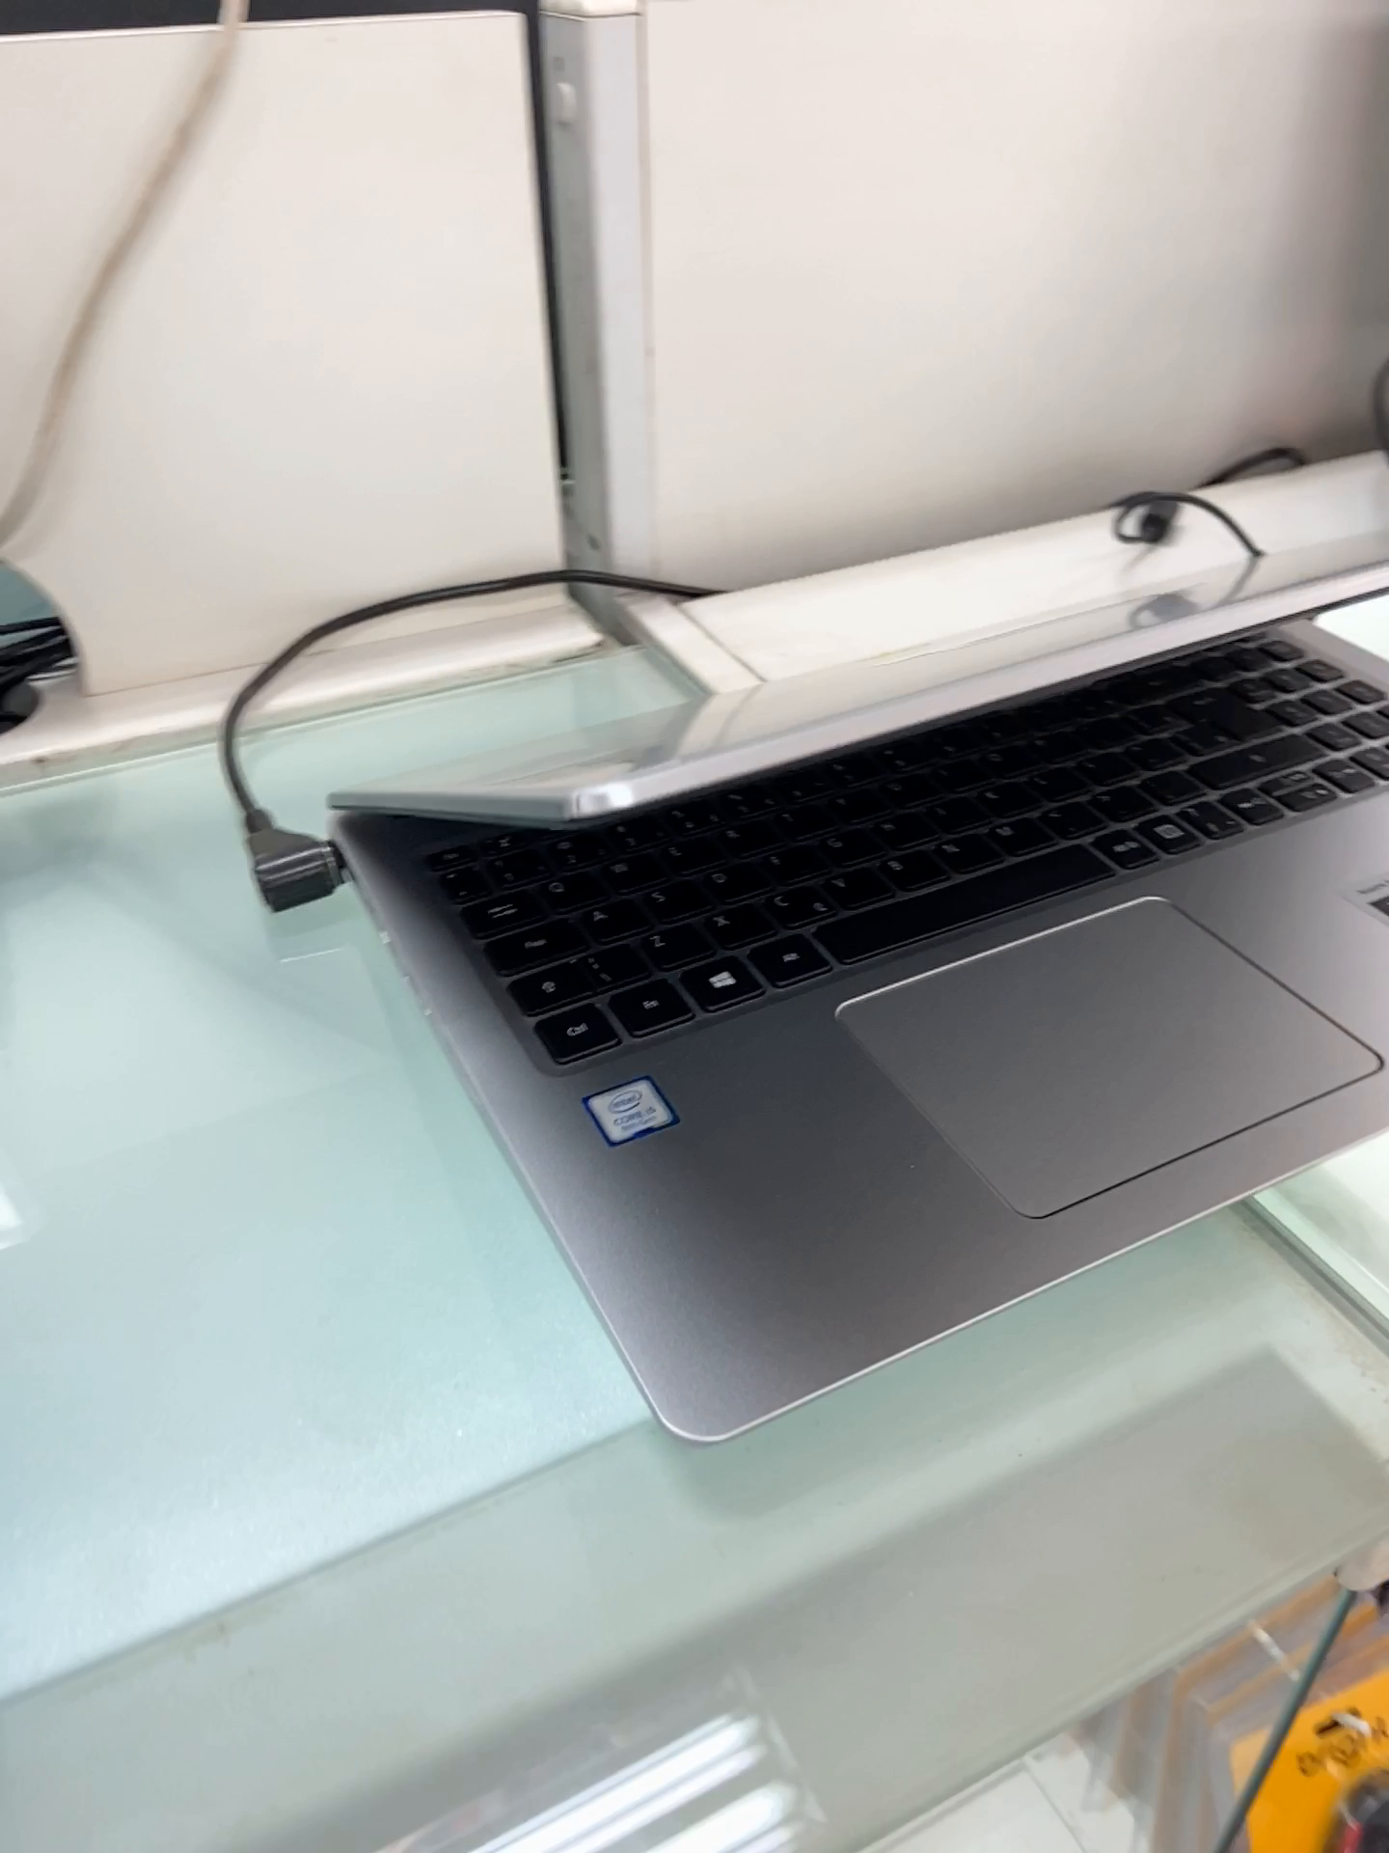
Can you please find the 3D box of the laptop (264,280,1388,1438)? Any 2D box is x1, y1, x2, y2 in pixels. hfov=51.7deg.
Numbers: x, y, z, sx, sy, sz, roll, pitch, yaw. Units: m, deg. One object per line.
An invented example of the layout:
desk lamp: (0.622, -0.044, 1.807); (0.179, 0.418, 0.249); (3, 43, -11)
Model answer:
laptop: (0.105, -0.070, 0.385); (0.365, 0.116, 0.246); (-17, 38, -23)
